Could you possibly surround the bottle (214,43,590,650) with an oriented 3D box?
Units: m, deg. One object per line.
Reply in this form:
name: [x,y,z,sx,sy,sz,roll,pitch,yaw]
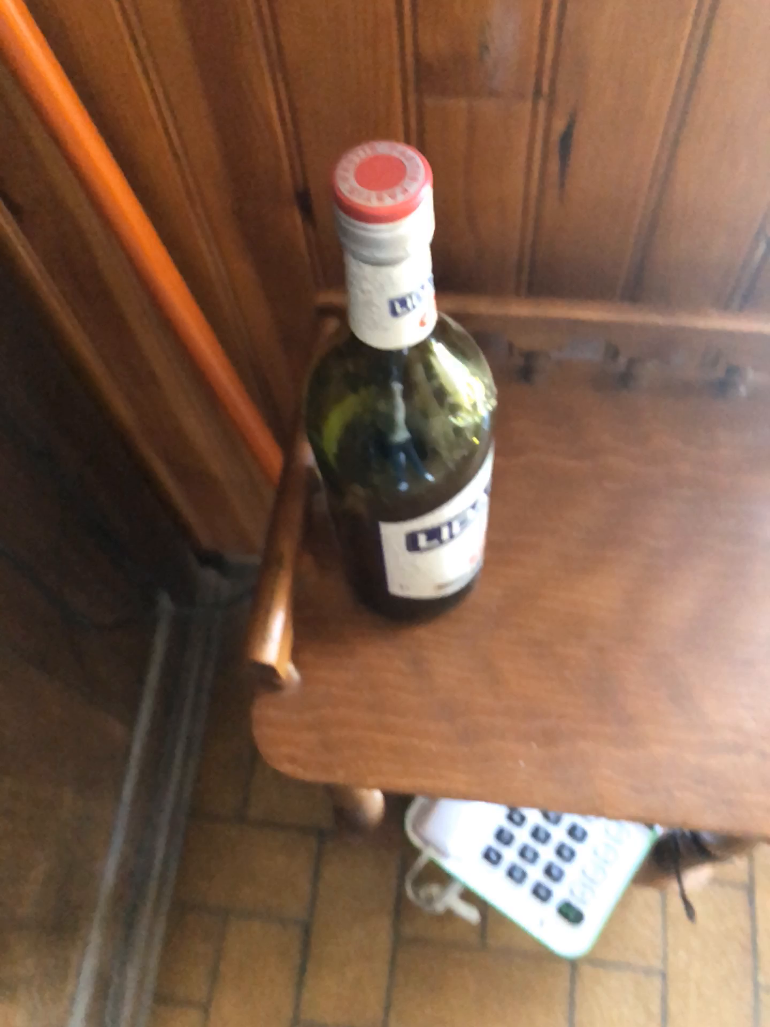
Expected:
bottle: [0.016,-0.037,0.388,0.080,0.299,0.090,23,68,14]
